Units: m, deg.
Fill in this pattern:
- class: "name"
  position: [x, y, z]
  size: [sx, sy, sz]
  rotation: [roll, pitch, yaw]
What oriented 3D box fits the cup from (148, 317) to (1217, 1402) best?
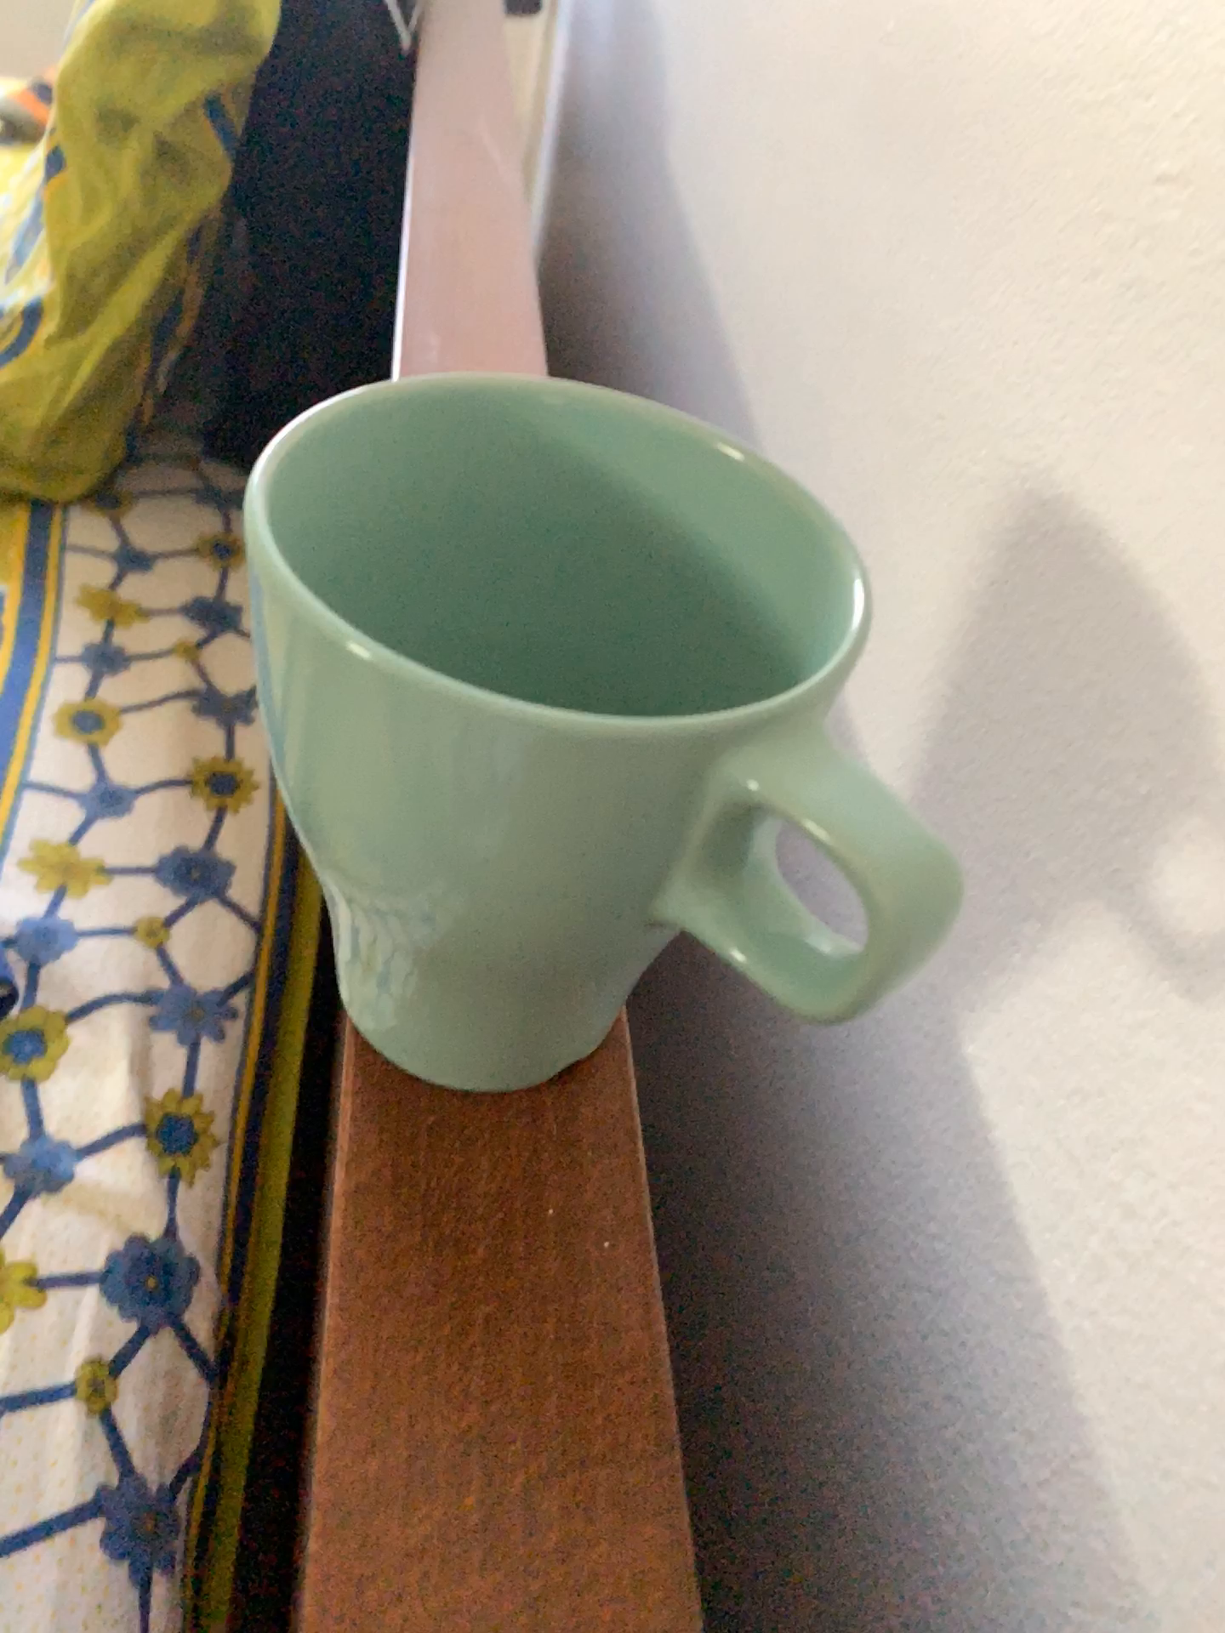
- class: "cup"
  position: [0.000, 0.000, 0.200]
  size: [0.082, 0.091, 0.123]
  rotation: [-30, 59, -34]
